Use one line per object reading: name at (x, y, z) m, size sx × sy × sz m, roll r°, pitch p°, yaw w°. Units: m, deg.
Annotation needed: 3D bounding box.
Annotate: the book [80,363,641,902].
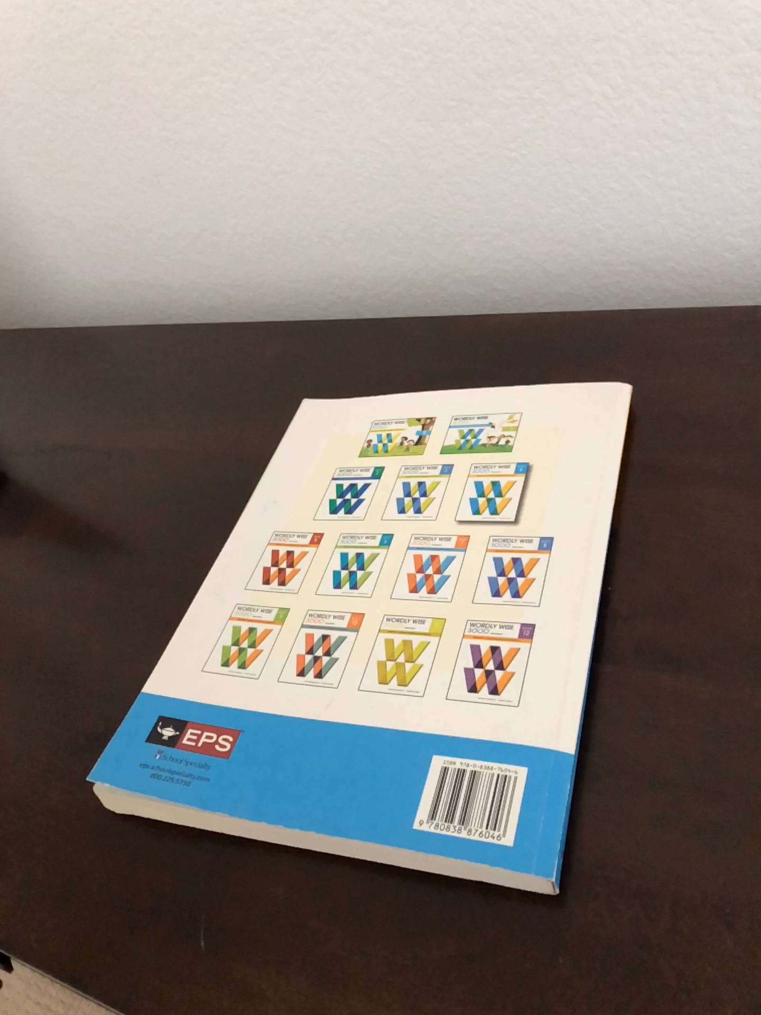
book at (0.005, 0.034, 0.430) m, size 0.220 × 0.031 × 0.272 m, roll 0°, pitch 48°, yaw 25°
